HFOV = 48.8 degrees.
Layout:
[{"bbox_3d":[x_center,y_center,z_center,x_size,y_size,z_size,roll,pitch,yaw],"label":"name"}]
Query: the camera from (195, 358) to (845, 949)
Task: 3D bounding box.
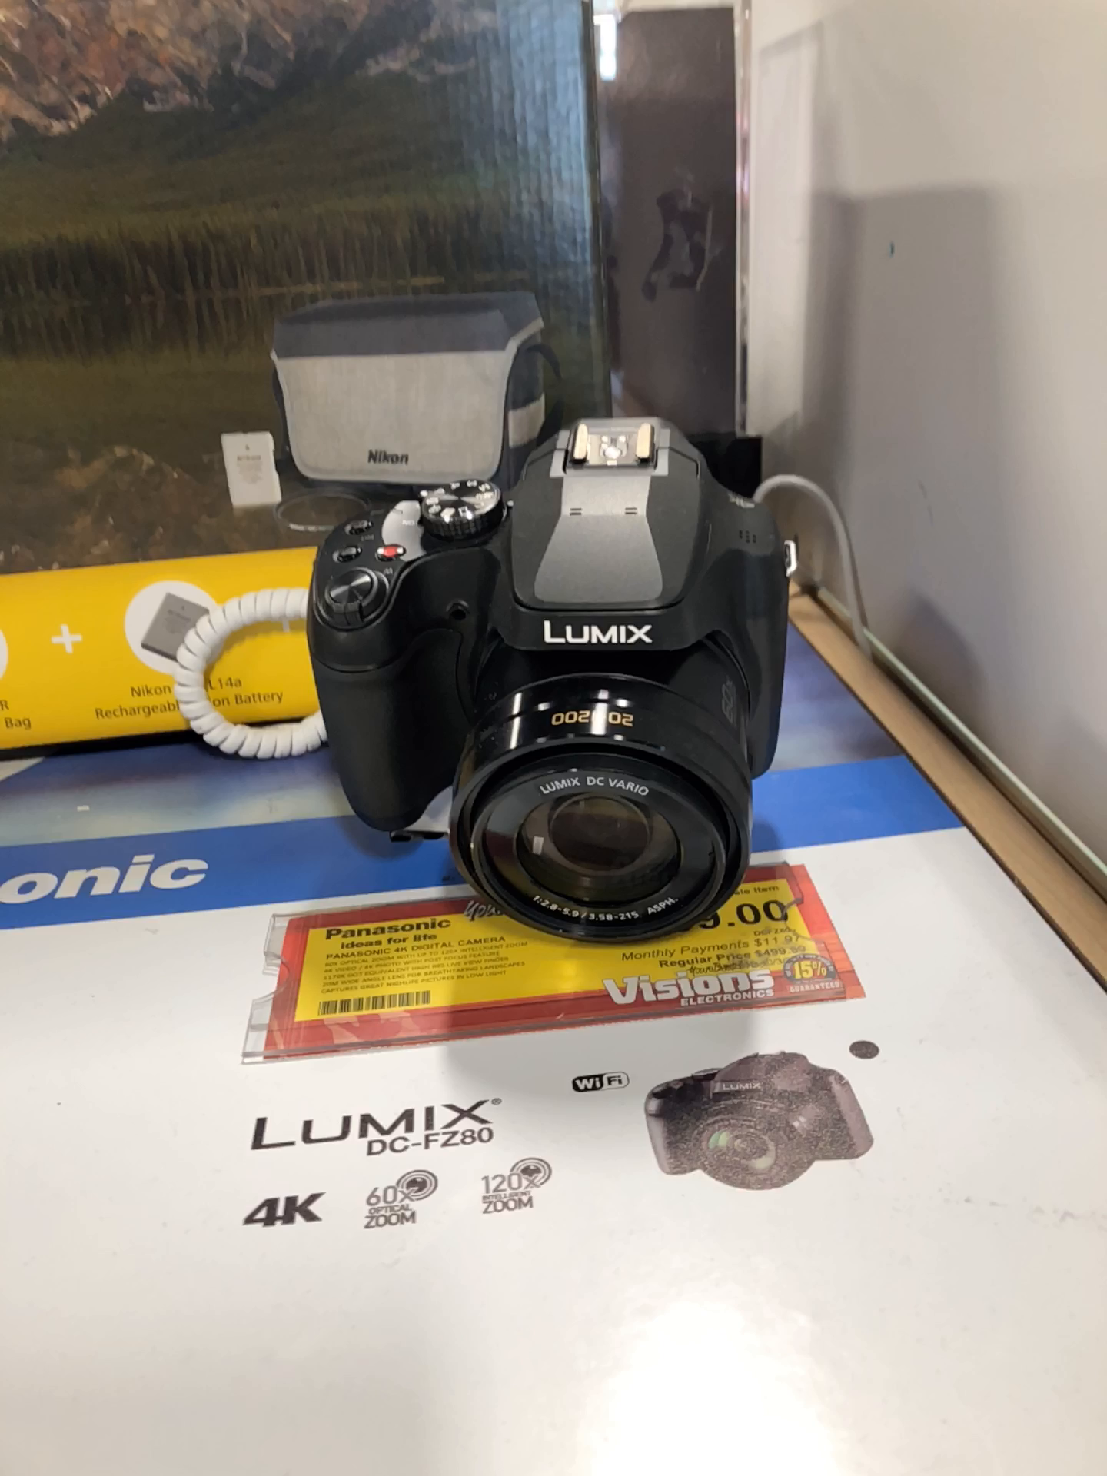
[{"bbox_3d":[-0.001,-0.021,0.294,0.120,0.099,0.101,-1,37,6],"label":"camera"}]
